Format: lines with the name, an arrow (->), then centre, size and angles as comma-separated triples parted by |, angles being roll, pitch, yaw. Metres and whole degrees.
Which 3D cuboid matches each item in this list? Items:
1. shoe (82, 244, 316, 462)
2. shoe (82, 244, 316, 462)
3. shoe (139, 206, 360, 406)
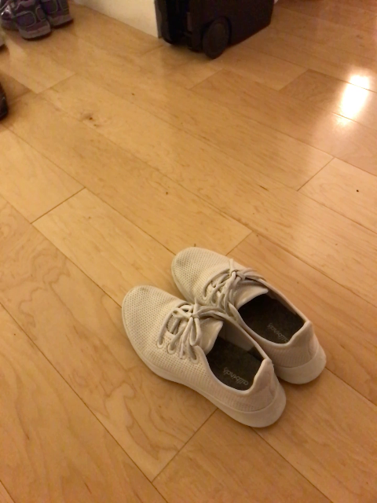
shoe -> 0.007, 0.123, 0.559 | 0.281, 0.089, 0.131 | 31, 60, 26
shoe -> 0.007, 0.123, 0.559 | 0.281, 0.089, 0.131 | 31, 60, 26
shoe -> 0.071, 0.060, 0.572 | 0.120, 0.070, 0.281 | -39, 58, -24
